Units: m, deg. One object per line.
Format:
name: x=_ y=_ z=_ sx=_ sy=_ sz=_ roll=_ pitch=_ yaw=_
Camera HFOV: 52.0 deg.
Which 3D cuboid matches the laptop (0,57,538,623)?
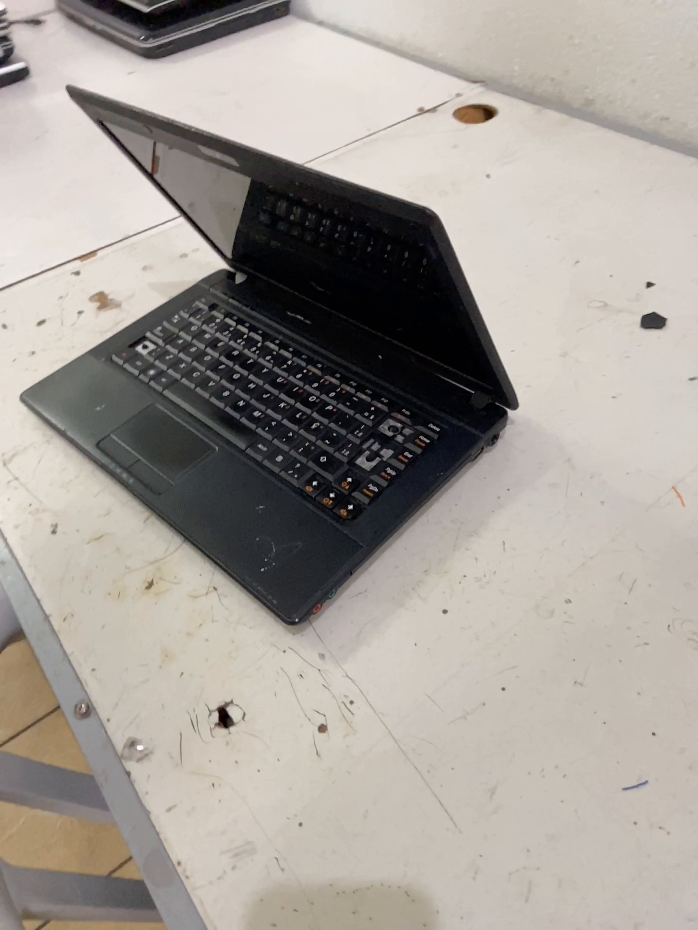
laptop: x=-0.087 y=-0.111 z=0.493 sx=0.333 sy=0.194 sz=0.224 roll=32 pitch=60 yaw=31
